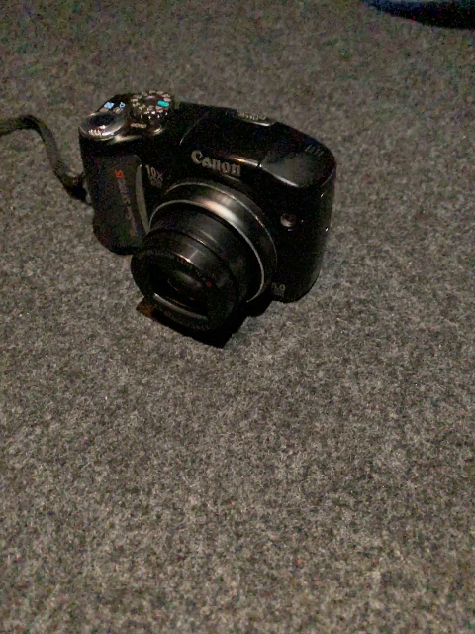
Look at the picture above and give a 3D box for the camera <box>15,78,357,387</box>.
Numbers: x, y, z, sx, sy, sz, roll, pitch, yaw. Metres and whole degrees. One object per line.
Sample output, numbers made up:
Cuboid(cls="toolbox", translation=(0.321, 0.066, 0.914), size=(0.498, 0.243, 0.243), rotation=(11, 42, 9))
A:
Cuboid(cls="camera", translation=(-0.018, -0.038, 0.216), size=(0.108, 0.079, 0.070), rotation=(21, 54, 16))
